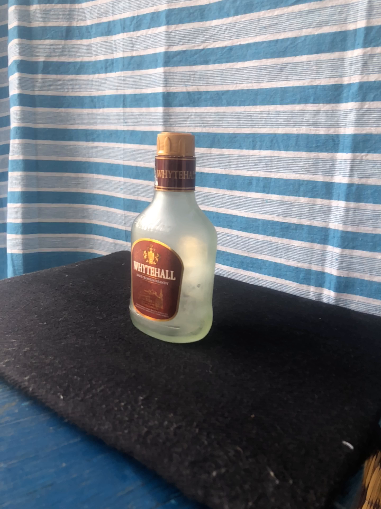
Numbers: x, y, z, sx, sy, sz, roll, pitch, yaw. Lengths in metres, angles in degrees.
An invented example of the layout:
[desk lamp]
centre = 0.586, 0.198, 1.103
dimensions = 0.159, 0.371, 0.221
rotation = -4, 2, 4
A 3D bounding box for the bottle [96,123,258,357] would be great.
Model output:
[bottle]
centre = -0.012, -0.017, 0.277
dimensions = 0.080, 0.130, 0.060
rotation = 16, 21, 38
